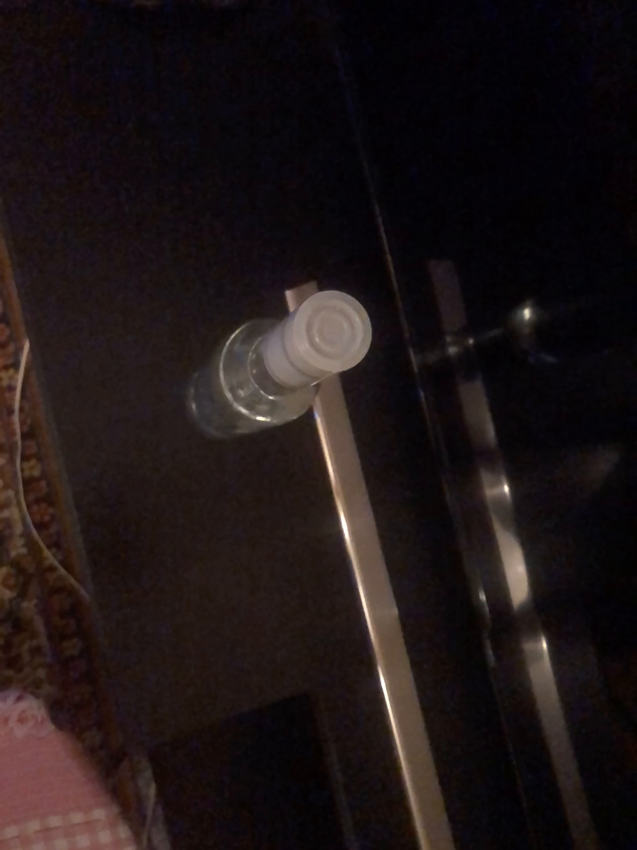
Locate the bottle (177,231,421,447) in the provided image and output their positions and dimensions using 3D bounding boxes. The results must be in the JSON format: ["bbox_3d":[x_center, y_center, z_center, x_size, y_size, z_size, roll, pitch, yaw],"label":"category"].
[{"bbox_3d":[-0.035,-0.032,0.430,0.067,0.291,0.064,1,85,-16],"label":"bottle"}]
